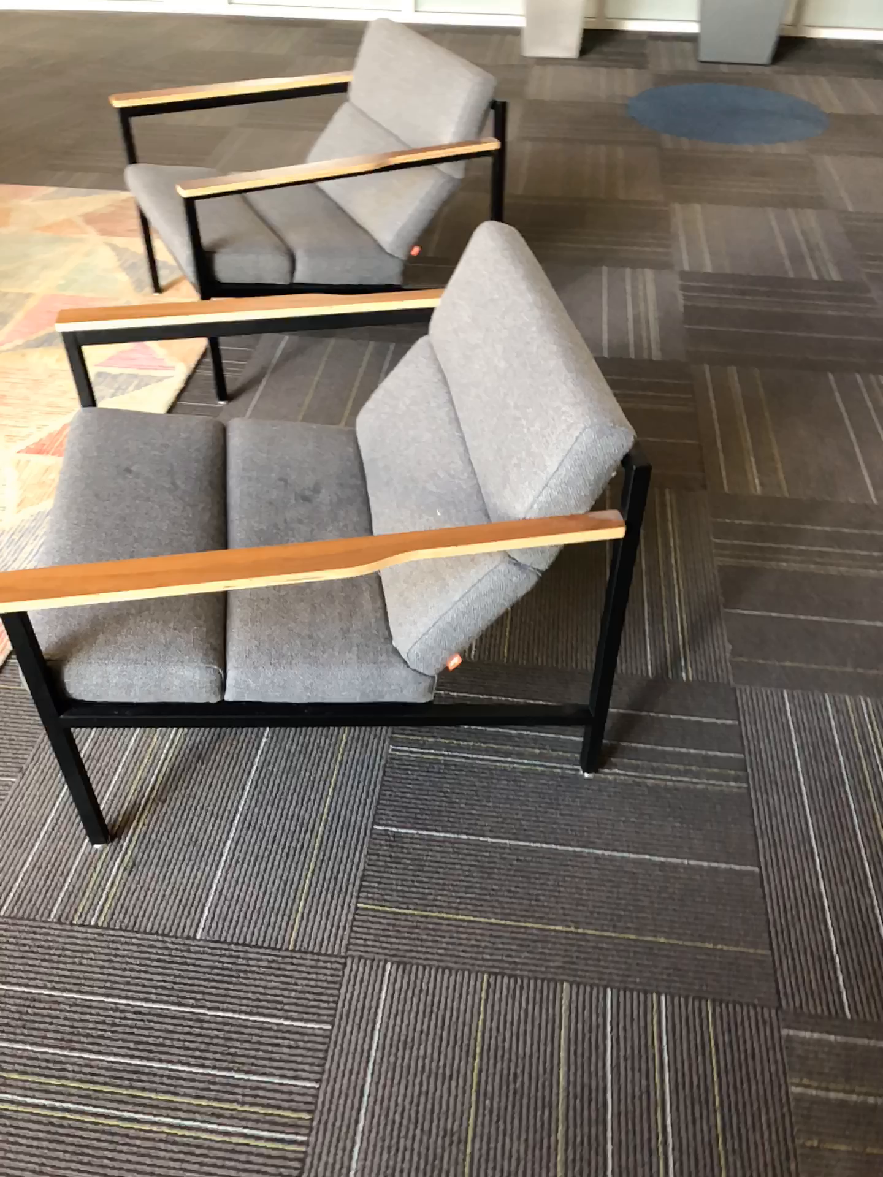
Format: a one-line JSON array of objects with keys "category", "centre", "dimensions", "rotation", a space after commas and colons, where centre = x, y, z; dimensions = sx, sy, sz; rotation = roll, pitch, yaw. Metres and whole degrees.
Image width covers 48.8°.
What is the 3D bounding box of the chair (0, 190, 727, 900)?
[{"category": "chair", "centre": [-0.189, -0.118, 1.596], "dimensions": [0.920, 0.697, 0.794], "rotation": [-9, 42, -8]}]
